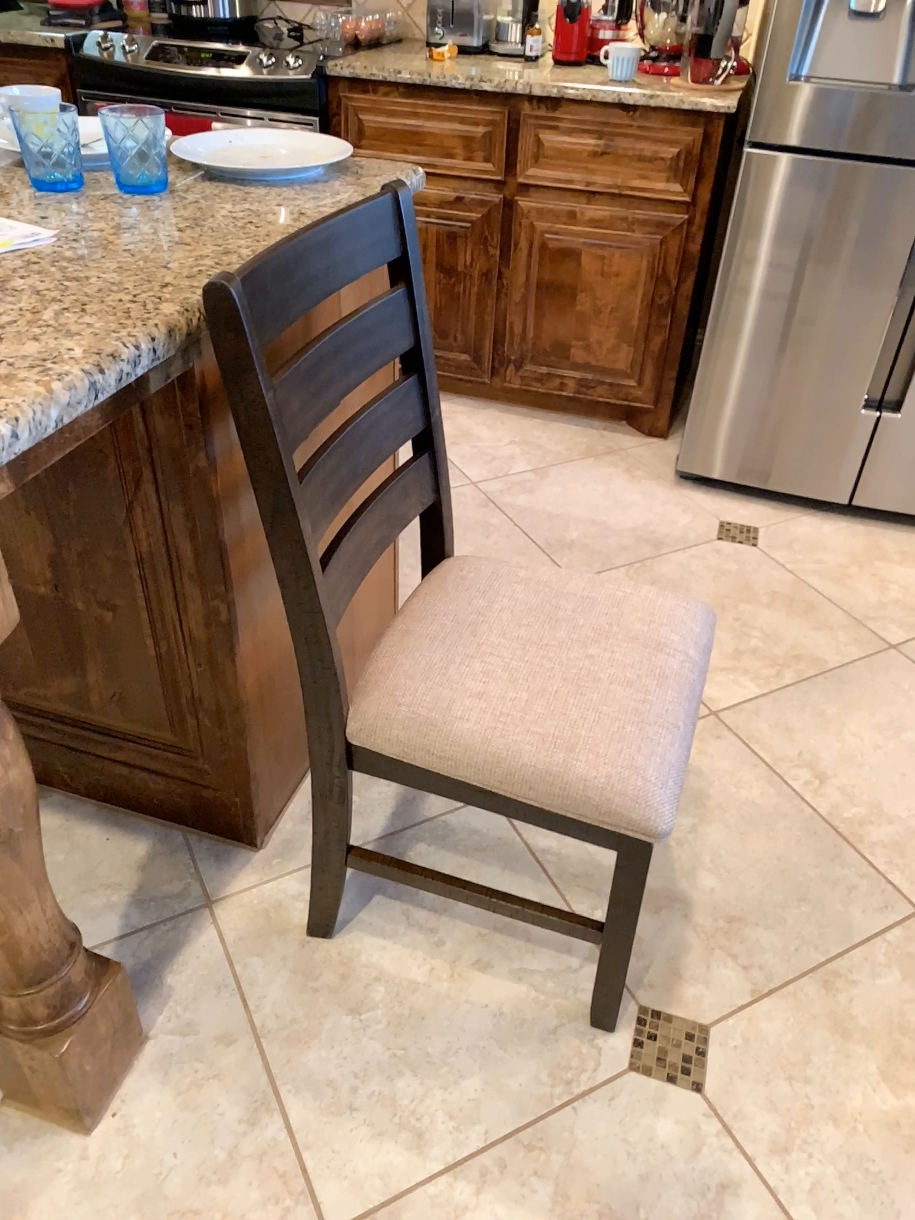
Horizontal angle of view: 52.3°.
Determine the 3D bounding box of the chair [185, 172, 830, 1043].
[{"bbox_3d":[0.072,0.013,1.185,0.524,0.909,0.469,13,38,13],"label":"chair"}]
